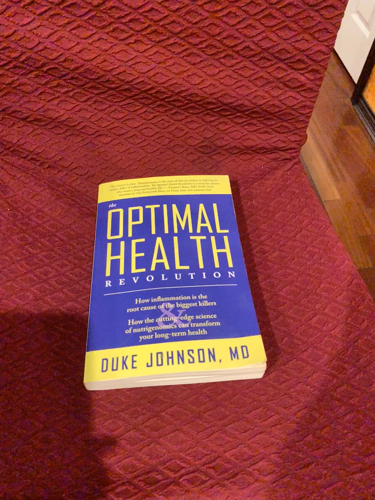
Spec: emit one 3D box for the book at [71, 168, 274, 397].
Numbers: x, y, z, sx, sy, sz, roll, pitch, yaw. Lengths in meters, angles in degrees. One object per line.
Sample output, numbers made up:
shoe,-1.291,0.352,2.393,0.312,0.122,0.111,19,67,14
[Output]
book,-0.018,0.021,0.392,0.161,0.060,0.222,-3,56,-2
